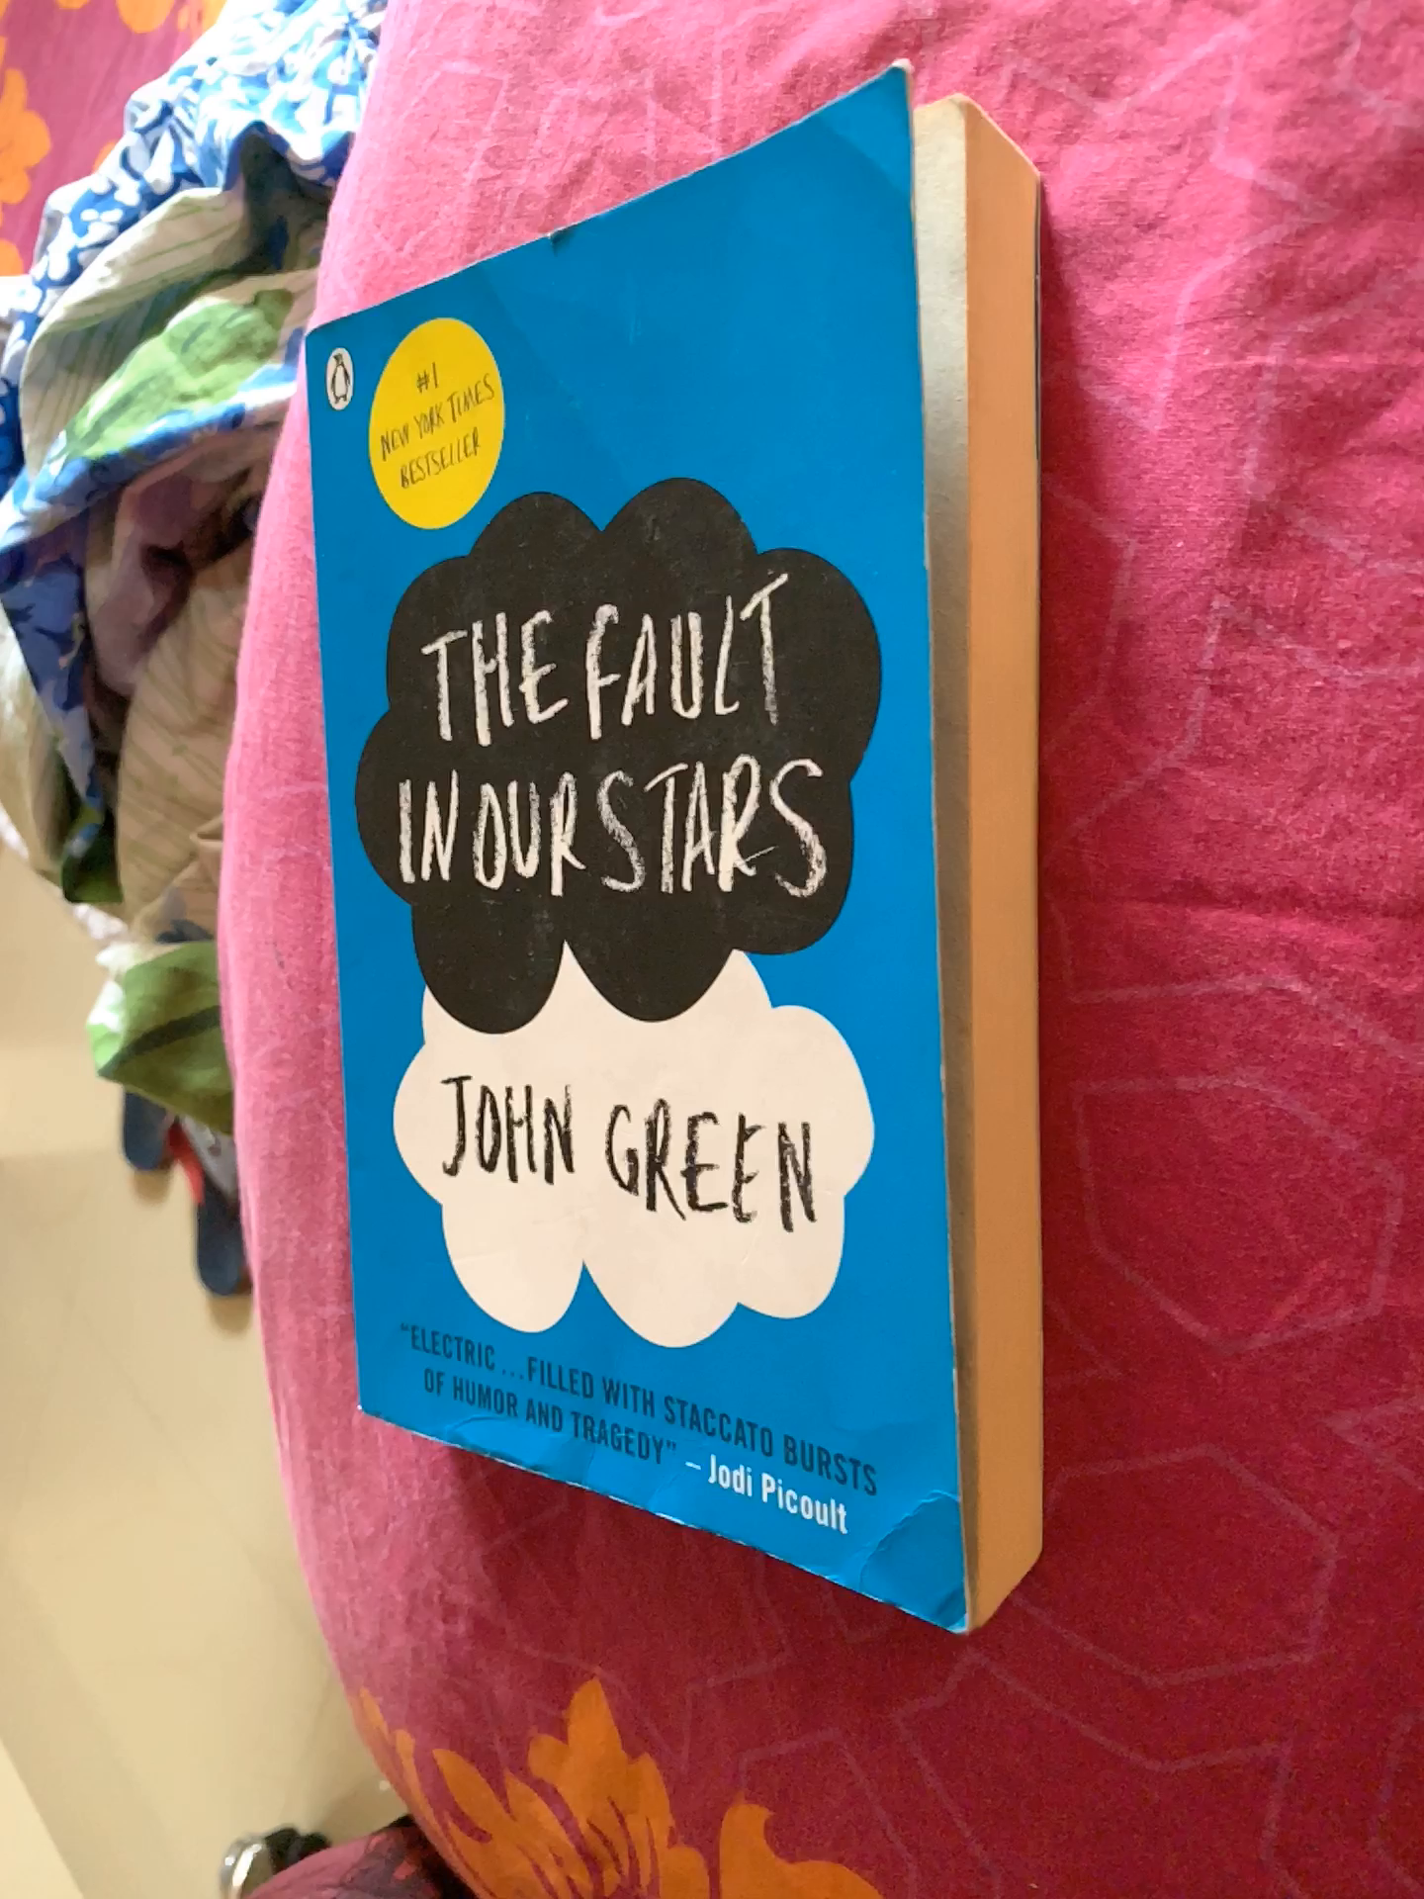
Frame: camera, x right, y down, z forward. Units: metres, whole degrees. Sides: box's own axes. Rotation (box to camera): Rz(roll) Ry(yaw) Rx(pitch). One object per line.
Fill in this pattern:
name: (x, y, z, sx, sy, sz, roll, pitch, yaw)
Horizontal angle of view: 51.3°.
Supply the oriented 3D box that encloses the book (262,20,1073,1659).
book: (-0.015, -0.012, 0.215, 0.130, 0.030, 0.179, 0, 91, 40)
